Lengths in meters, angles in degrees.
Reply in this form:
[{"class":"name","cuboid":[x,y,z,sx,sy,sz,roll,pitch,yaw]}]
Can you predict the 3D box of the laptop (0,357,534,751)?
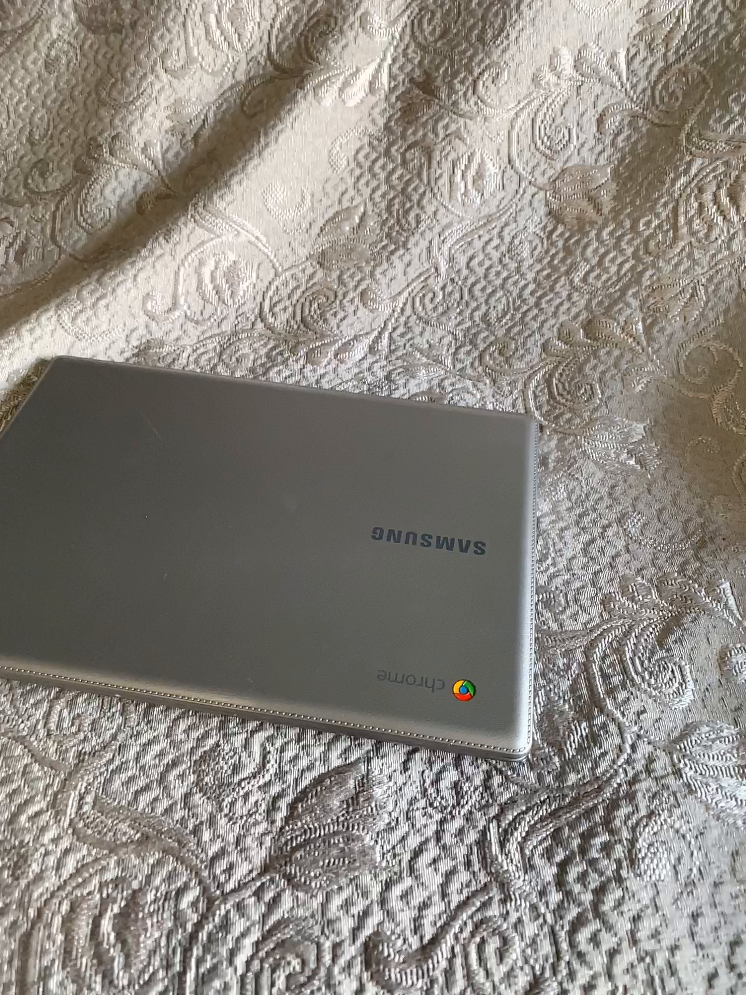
[{"class":"laptop","cuboid":[-0.059,0.011,0.358,0.264,0.005,0.176,7,52,4]}]
